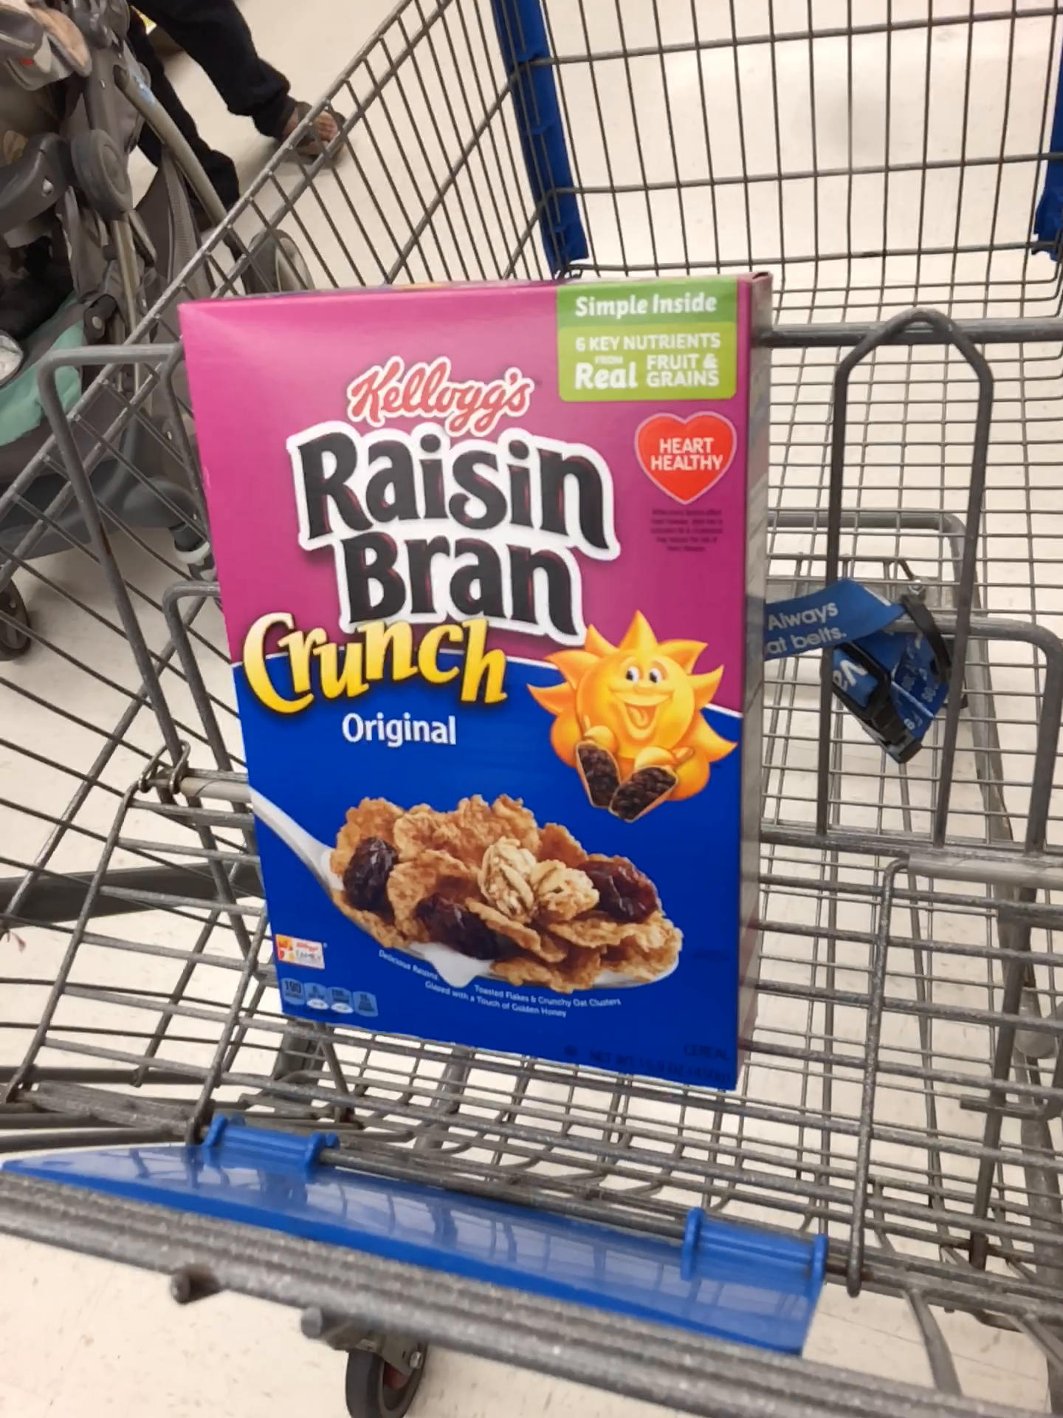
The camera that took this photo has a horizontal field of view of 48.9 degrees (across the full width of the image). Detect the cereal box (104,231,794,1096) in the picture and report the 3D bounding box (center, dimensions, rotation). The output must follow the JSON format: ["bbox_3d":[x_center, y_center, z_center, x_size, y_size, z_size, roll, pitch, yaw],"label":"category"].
[{"bbox_3d":[-0.021,-0.013,0.417,0.210,0.280,0.060,4,22,18],"label":"cereal box"}]
